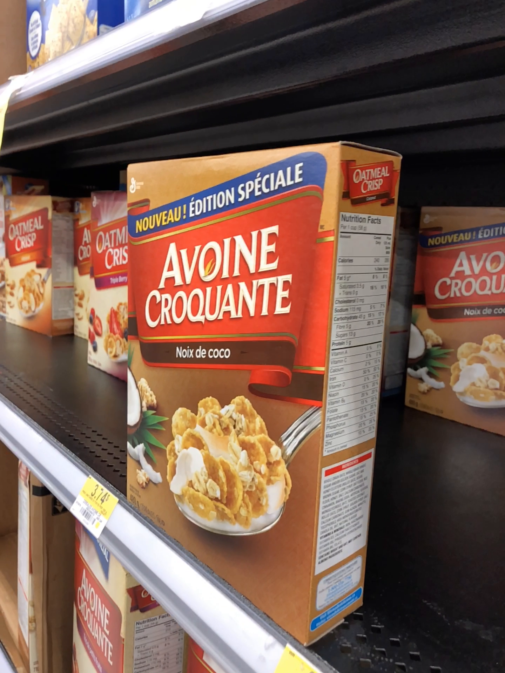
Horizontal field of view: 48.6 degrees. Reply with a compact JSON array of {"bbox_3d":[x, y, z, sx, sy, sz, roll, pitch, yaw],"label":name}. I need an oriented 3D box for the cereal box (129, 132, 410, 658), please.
[{"bbox_3d":[-0.010,0.020,0.367,0.050,0.269,0.200,-6,13,-40],"label":"cereal box"}]
